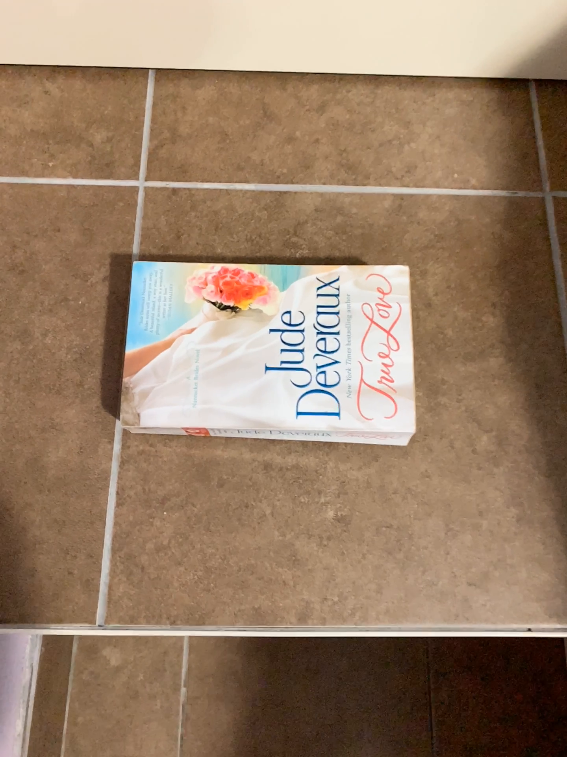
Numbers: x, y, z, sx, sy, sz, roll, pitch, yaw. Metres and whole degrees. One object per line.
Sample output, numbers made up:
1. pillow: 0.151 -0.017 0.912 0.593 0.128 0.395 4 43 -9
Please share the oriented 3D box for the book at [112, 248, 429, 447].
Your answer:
1. book: -0.005 -0.018 0.366 0.179 0.047 0.106 3 73 -1
